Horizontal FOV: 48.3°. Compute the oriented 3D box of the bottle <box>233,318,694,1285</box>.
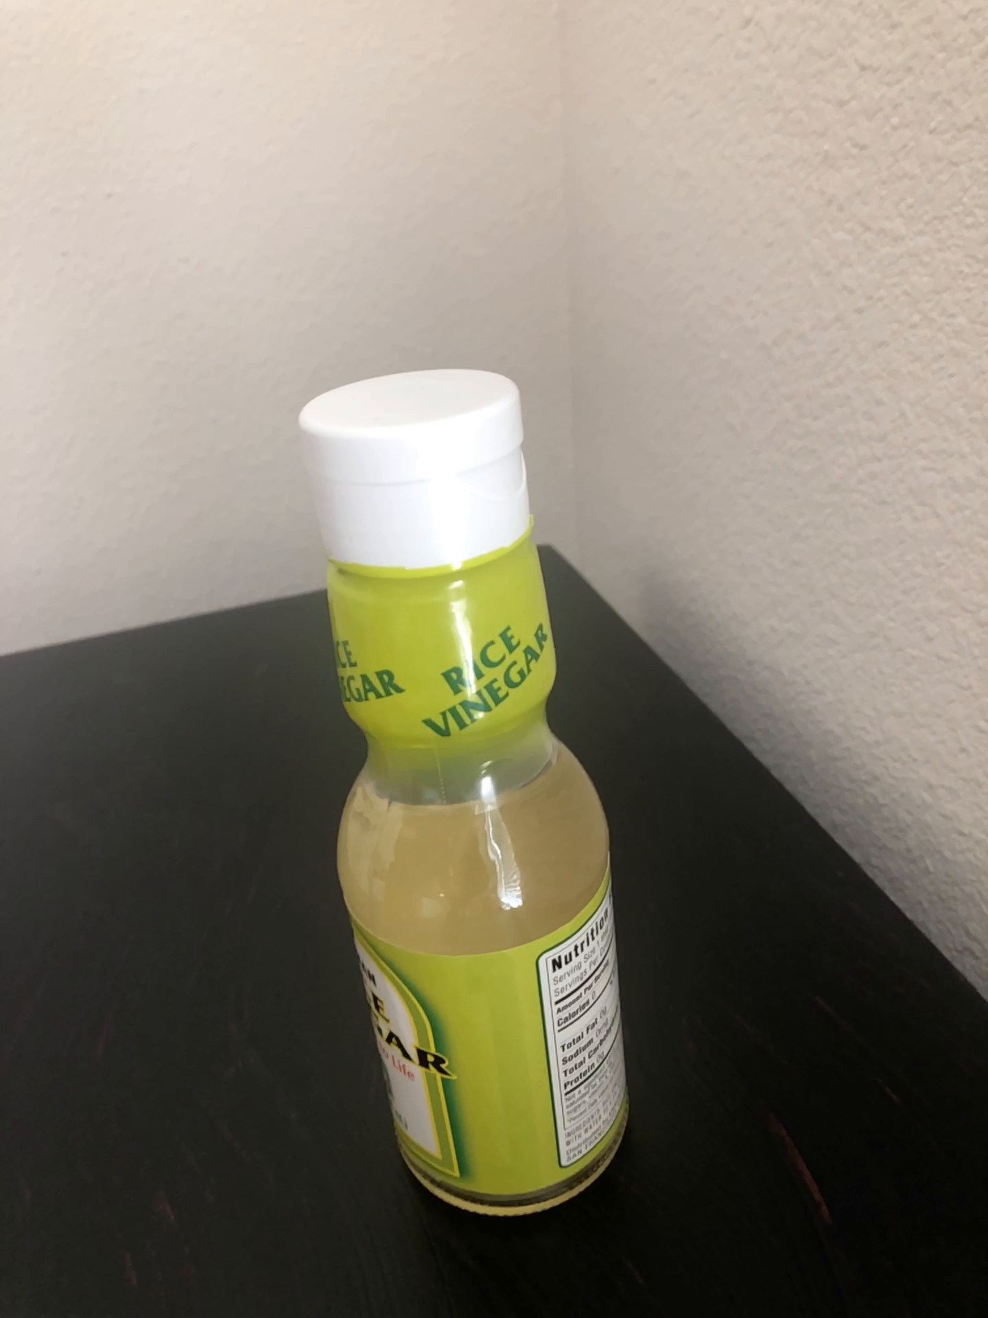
[{"bbox_3d":[0.000,0.037,0.243,0.070,0.199,0.070,-4,28,2],"label":"bottle"}]
